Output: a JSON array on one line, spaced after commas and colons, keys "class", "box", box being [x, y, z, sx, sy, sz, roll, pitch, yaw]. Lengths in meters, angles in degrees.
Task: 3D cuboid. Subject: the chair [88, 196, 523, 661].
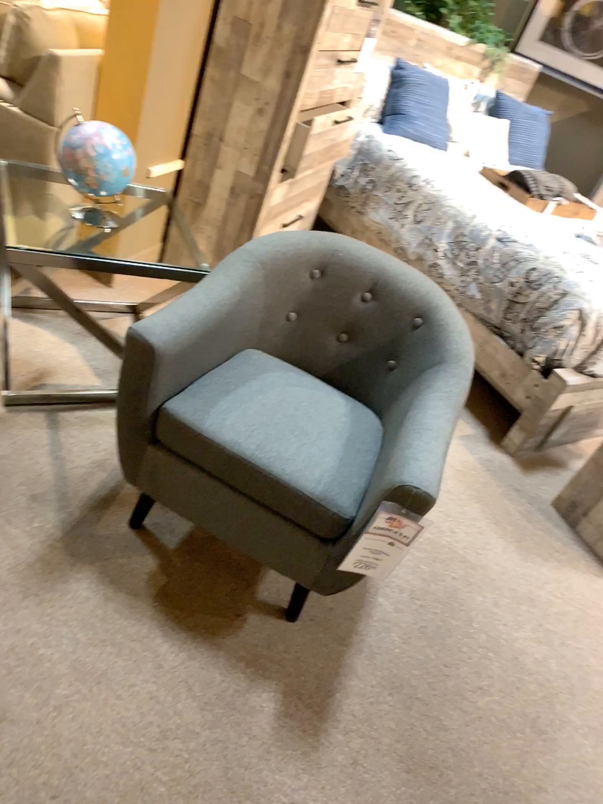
[{"class": "chair", "box": [0.025, 0.016, 1.640, 0.747, 0.701, 0.745, 29, 36, 8]}]
